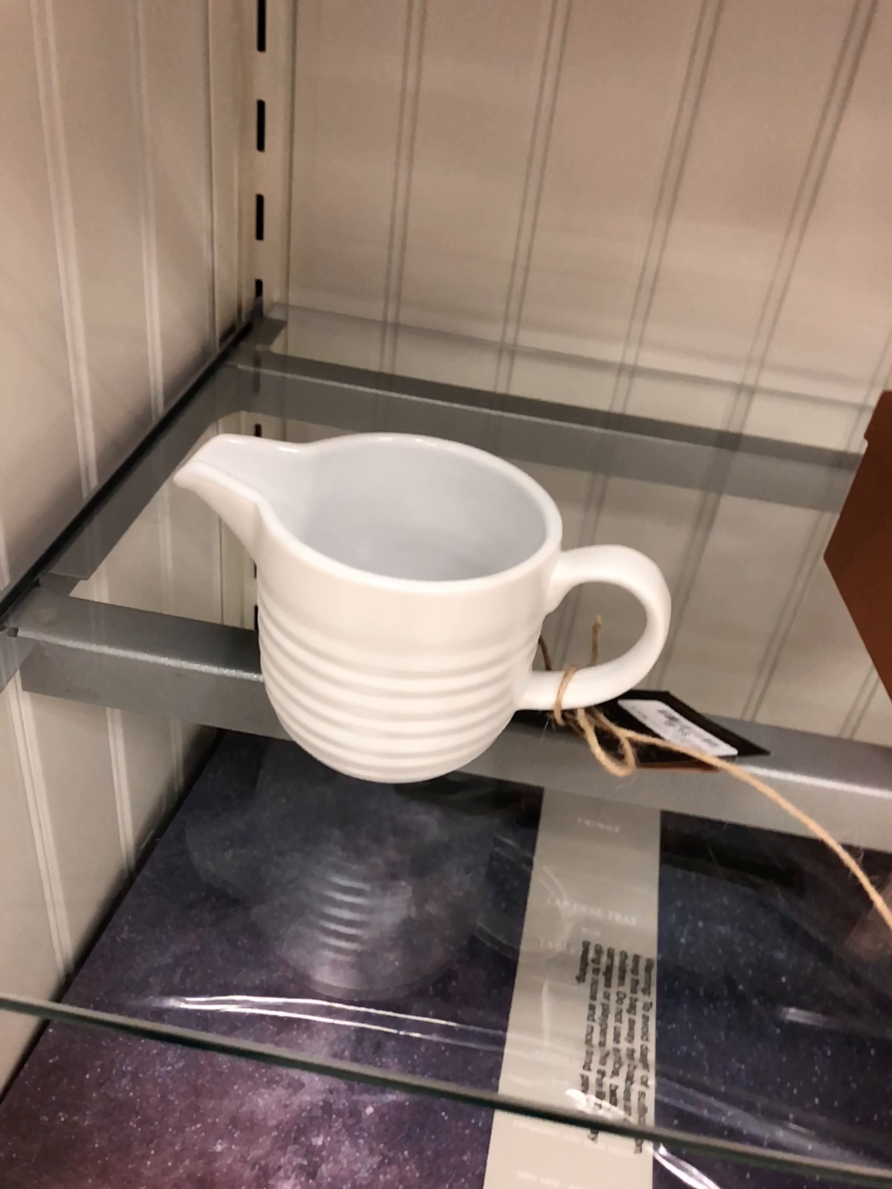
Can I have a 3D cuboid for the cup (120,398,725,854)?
[{"bbox_3d":[-0.005,0.005,0.271,0.140,0.069,0.071,12,36,5],"label":"cup"}]
